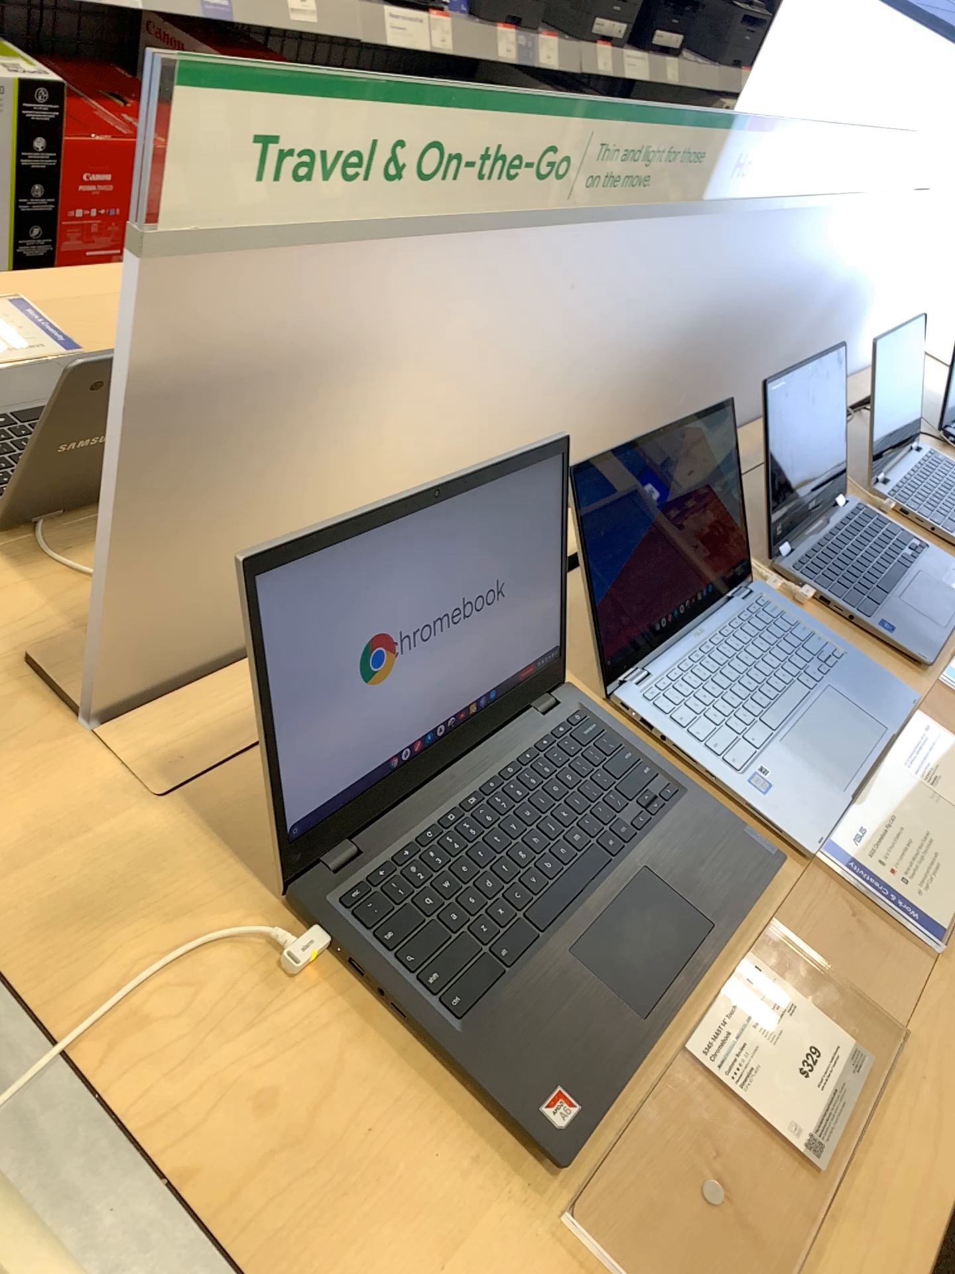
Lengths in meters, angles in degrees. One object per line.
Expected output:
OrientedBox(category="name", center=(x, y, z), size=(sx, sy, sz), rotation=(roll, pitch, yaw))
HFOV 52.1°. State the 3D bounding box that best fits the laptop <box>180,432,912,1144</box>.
OrientedBox(category="laptop", center=(0.047, 0.059, 0.621), size=(0.299, 0.188, 0.311), rotation=(39, 40, 18))
